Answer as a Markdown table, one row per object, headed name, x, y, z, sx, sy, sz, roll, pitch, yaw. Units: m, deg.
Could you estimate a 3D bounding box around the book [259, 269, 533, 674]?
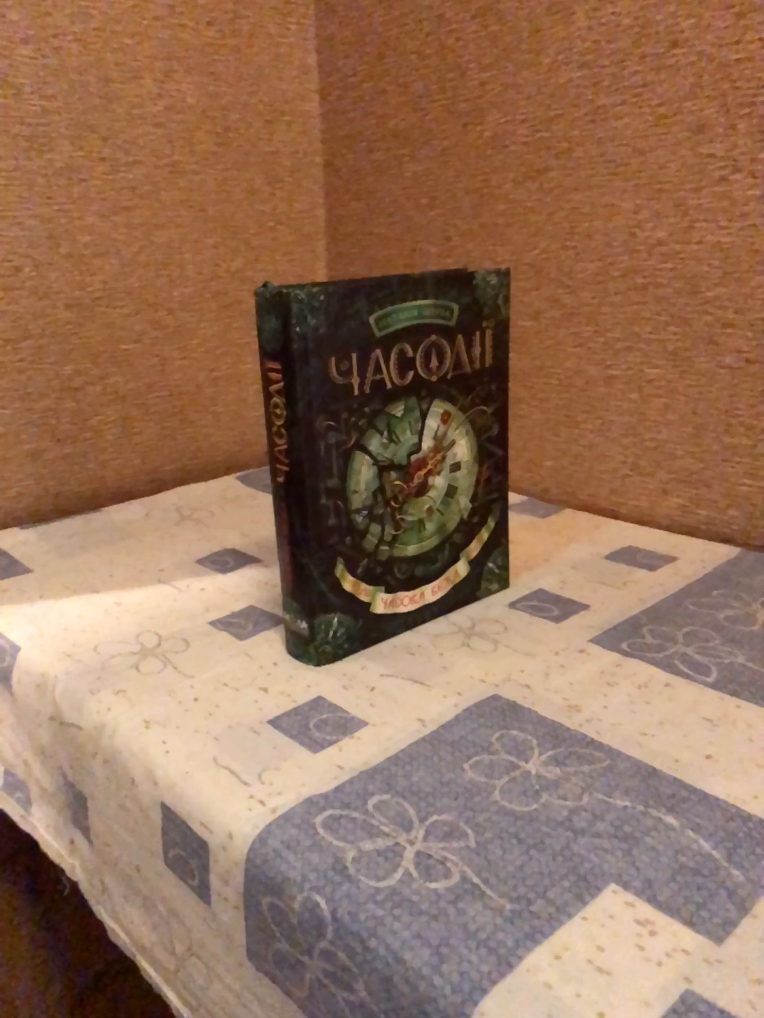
| name | x | y | z | sx | sy | sz | roll | pitch | yaw |
| --- | --- | --- | --- | --- | --- | --- | --- | --- | --- |
| book | 0.018 | -0.032 | 0.515 | 0.173 | 0.216 | 0.040 | -15 | 20 | -37 |
